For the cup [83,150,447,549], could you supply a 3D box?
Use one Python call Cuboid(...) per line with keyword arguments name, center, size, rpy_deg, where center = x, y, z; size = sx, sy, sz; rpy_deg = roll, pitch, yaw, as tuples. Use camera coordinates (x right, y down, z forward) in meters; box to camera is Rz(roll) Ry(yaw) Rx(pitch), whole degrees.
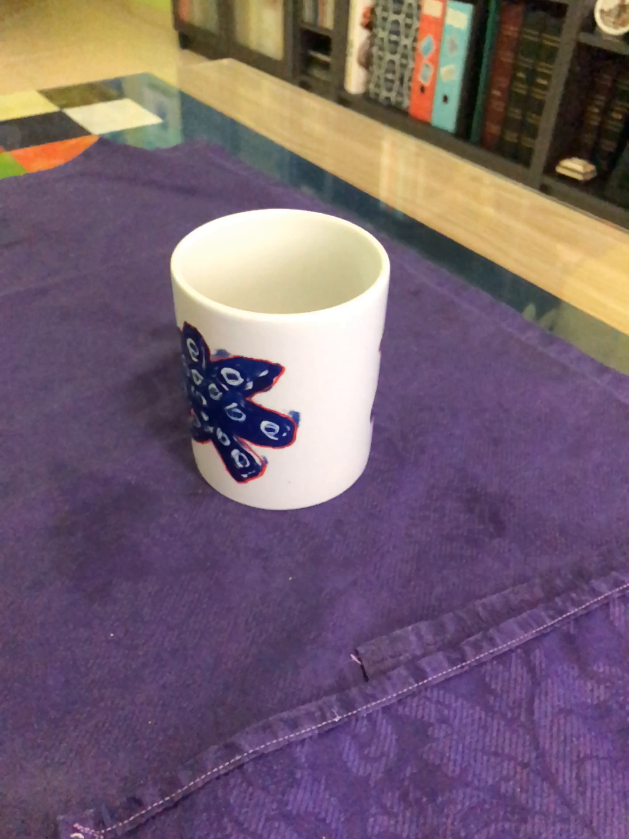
Cuboid(name="cup", center=(-0.025, -0.037, 0.287), size=(0.080, 0.090, 0.130), rpy_deg=(-21, 46, -24))
